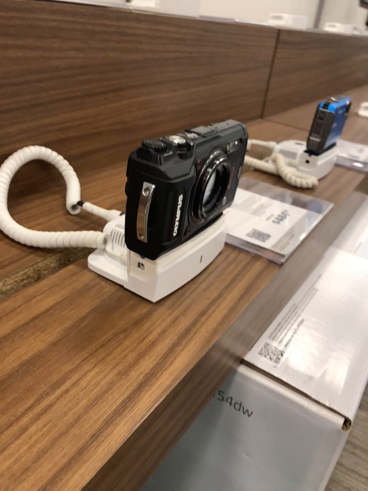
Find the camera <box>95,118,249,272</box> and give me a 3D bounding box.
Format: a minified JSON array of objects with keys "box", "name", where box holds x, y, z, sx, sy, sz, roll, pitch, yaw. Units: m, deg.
[{"box":[-0.003,-0.039,0.260,0.030,0.060,0.120,21,32,25],"name":"camera"}]
